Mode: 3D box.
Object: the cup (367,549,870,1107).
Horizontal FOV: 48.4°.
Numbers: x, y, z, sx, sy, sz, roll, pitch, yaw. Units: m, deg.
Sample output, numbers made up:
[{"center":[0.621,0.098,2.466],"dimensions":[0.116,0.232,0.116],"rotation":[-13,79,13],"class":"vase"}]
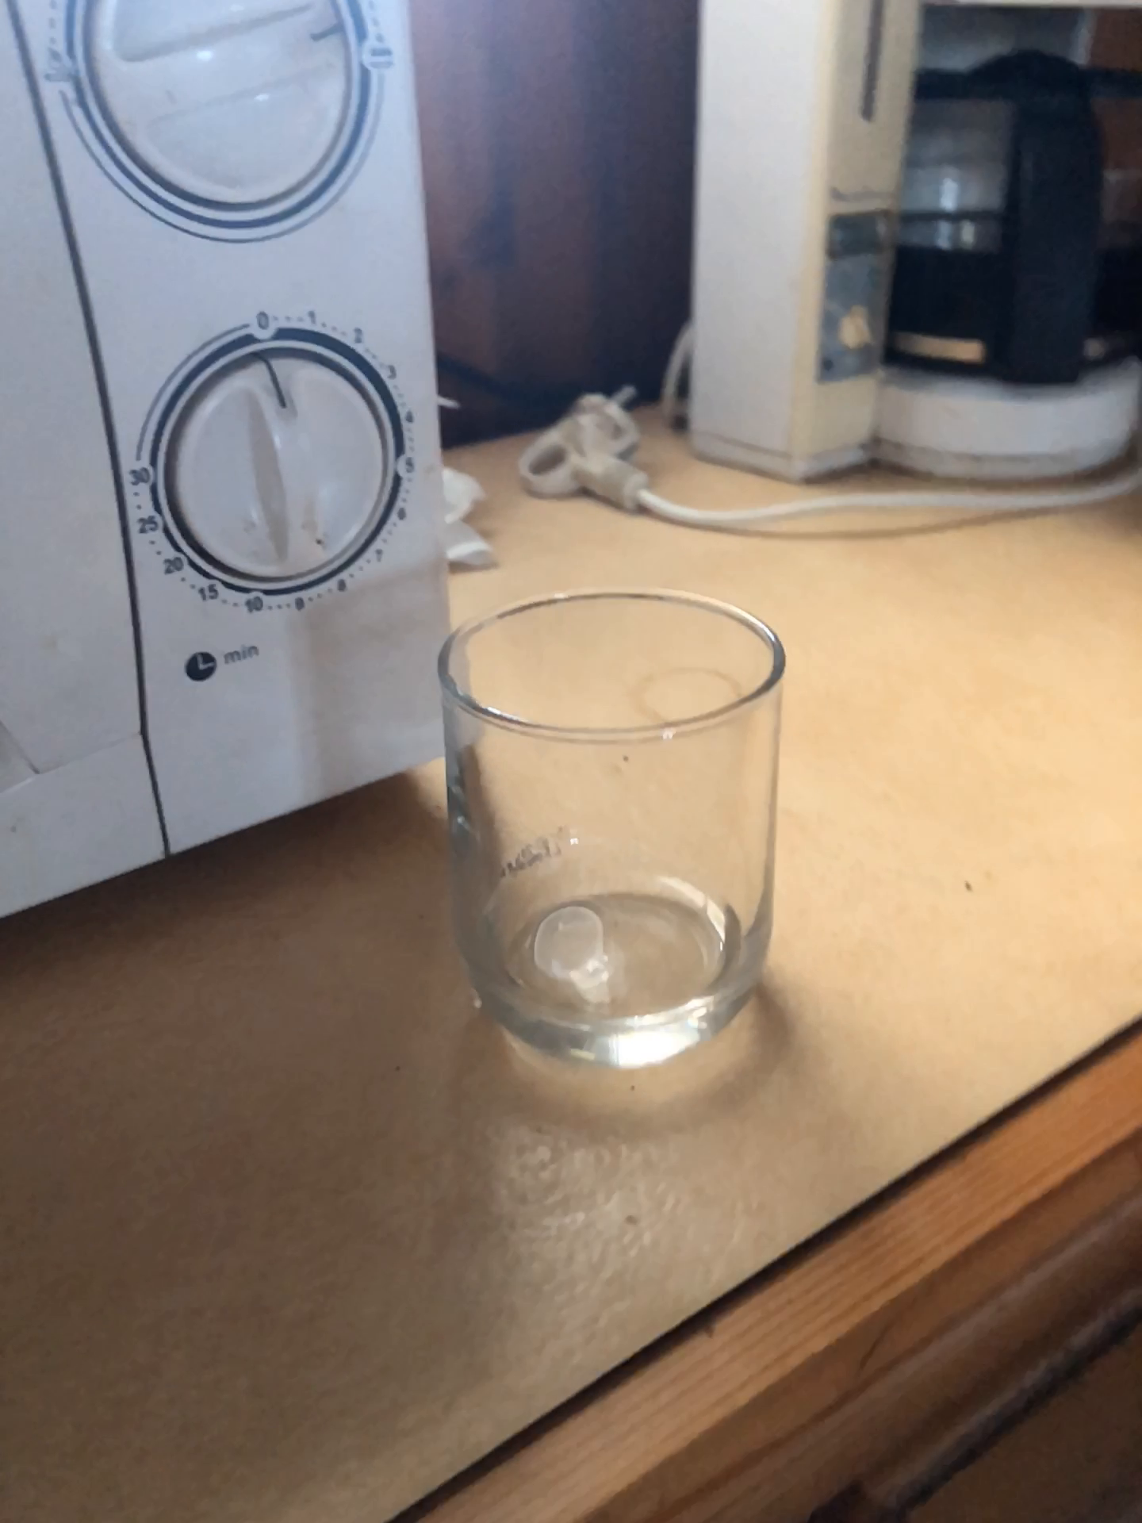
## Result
[{"center":[0.012,0.008,0.250],"dimensions":[0.070,0.070,0.070],"rotation":[-1,30,0],"class":"cup"}]
